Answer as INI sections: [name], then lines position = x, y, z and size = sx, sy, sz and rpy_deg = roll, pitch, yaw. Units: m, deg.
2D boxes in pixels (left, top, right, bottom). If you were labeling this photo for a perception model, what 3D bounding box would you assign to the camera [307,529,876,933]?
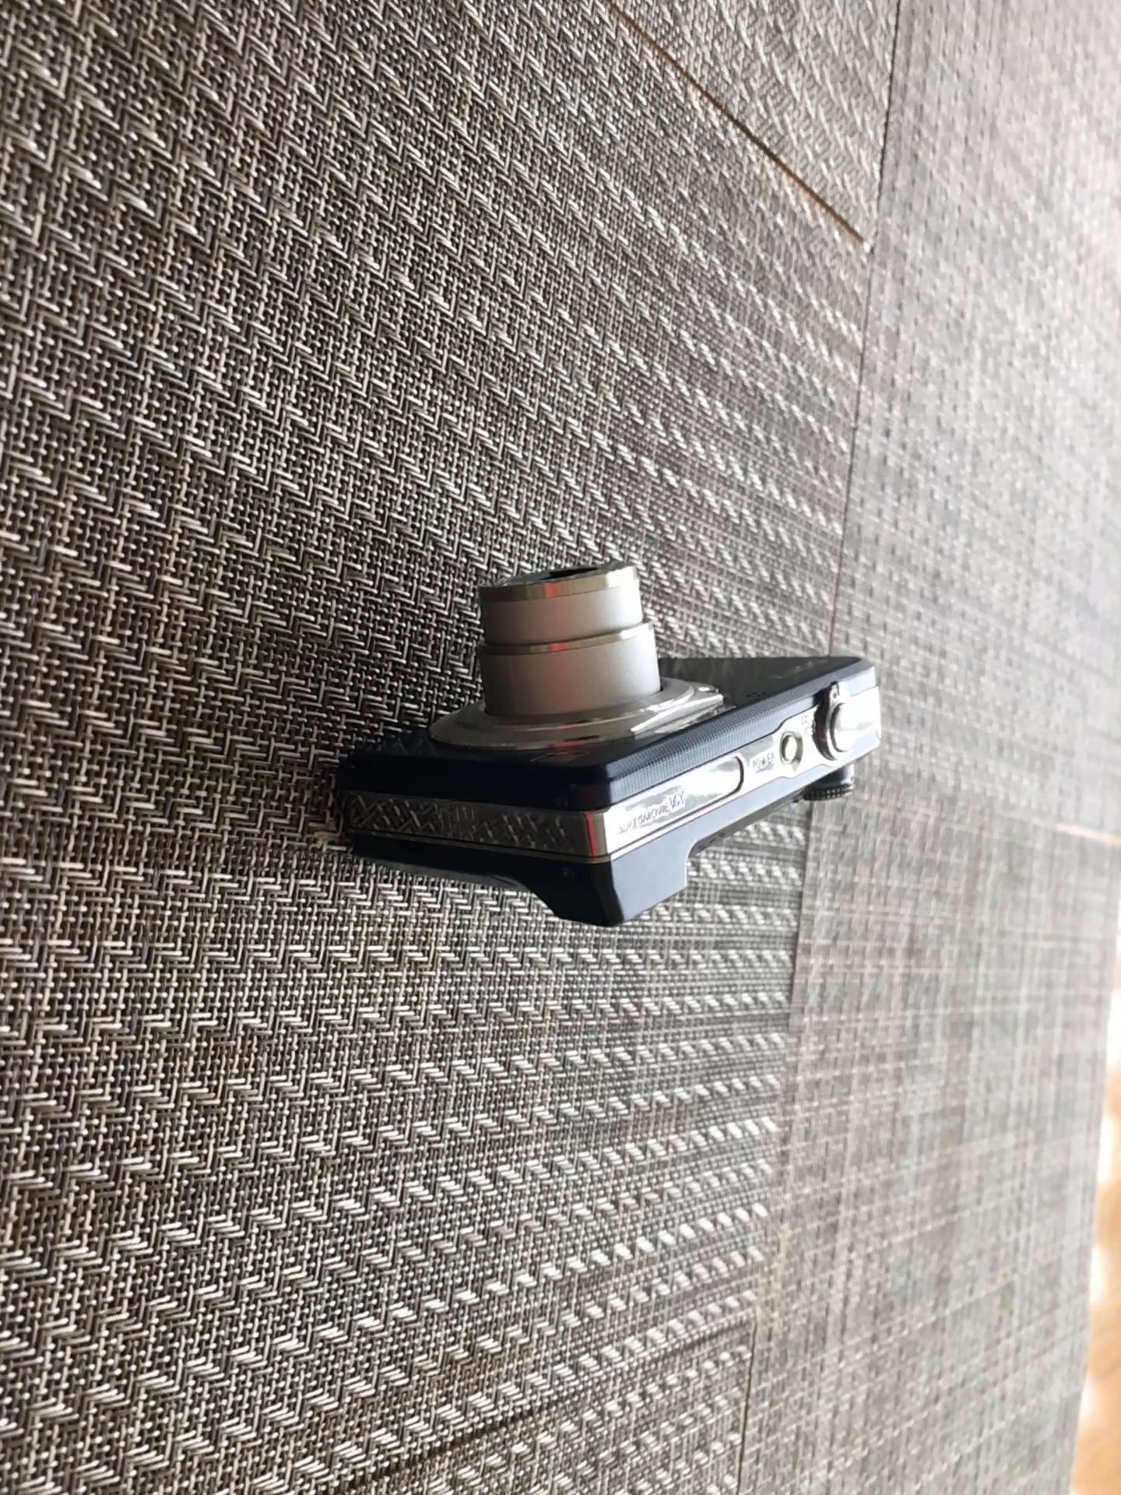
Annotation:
[camera]
position = 0.011, -0.009, 0.230
size = 0.096, 0.052, 0.049
rpy_deg = -20, 108, -48
